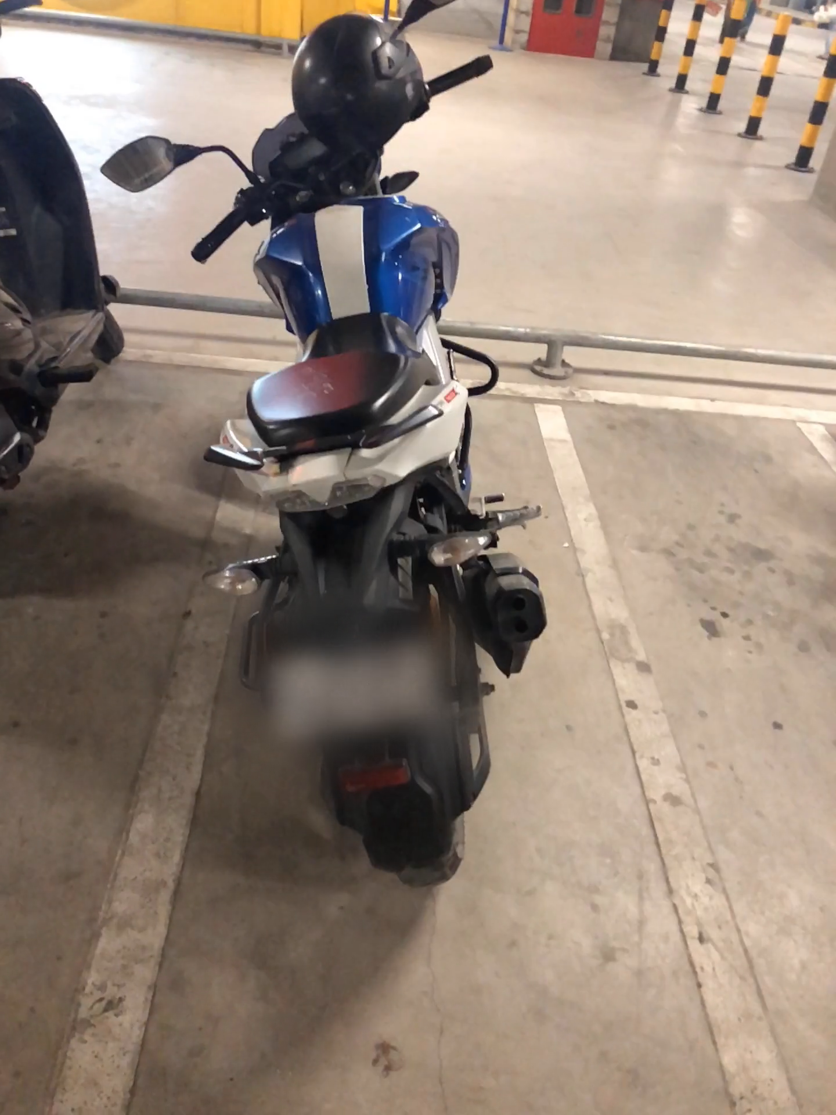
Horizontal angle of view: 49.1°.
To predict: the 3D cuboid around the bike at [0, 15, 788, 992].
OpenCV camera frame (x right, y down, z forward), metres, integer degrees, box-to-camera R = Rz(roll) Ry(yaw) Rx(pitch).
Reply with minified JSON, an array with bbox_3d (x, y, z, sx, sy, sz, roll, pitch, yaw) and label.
[{"bbox_3d":[-0.263,-0.352,1.938,0.806,1.162,1.995,1,35,-10],"label":"bike"}]
